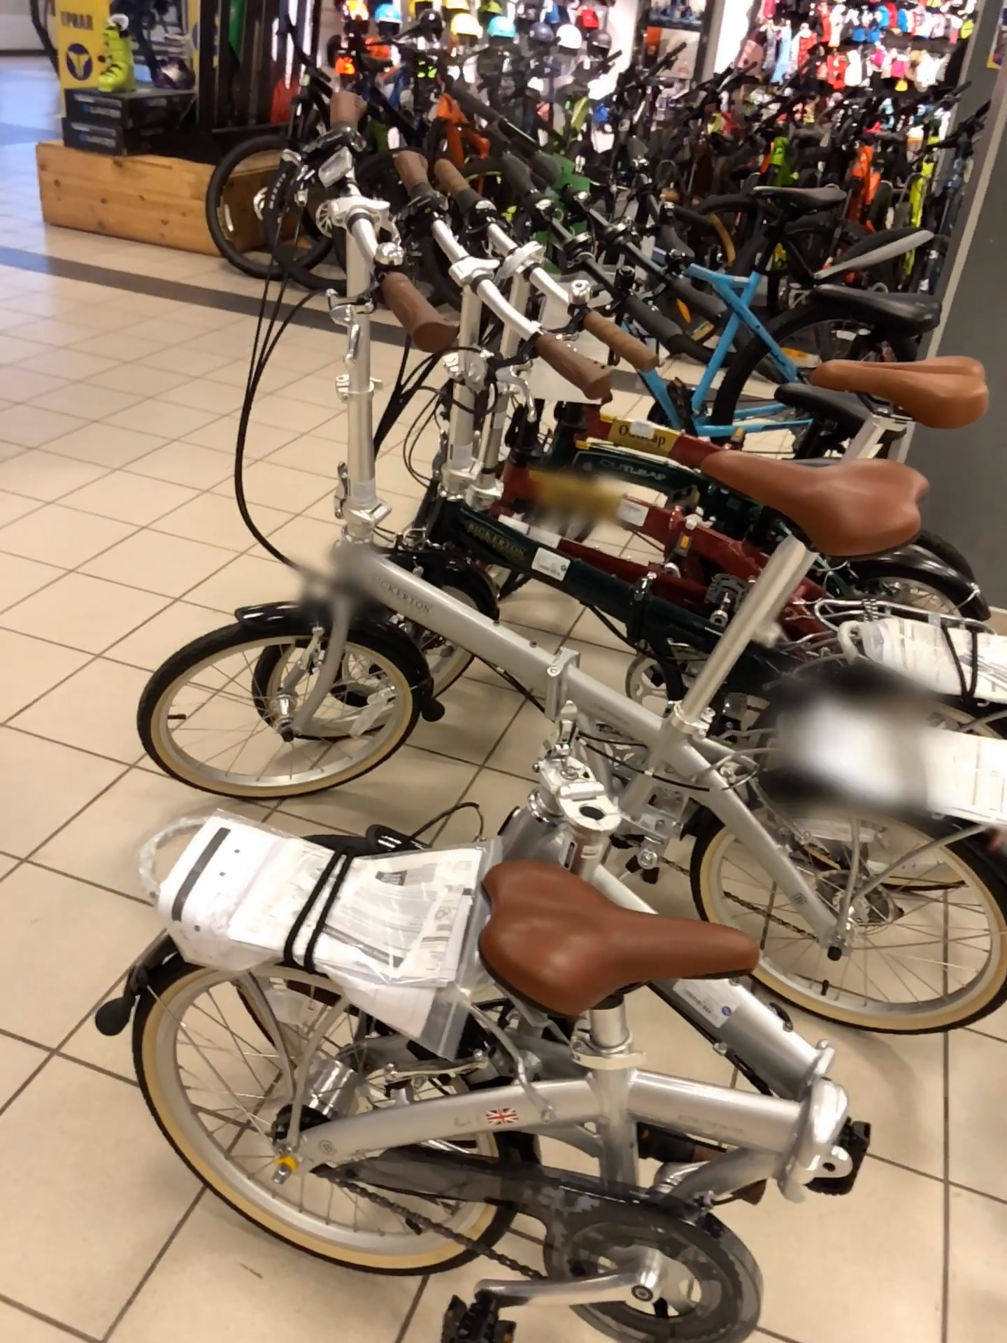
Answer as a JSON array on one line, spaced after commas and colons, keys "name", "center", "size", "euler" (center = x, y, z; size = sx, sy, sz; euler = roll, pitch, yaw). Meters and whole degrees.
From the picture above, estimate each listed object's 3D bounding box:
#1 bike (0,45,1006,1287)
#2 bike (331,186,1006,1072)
[{"name": "bike", "center": [0.083, -0.061, 1.453], "size": [1.359, 1.153, 0.555], "euler": [16, 31, 14]}, {"name": "bike", "center": [0.355, -0.115, 1.741], "size": [1.139, 1.037, 0.559], "euler": [13, 30, 12]}]
